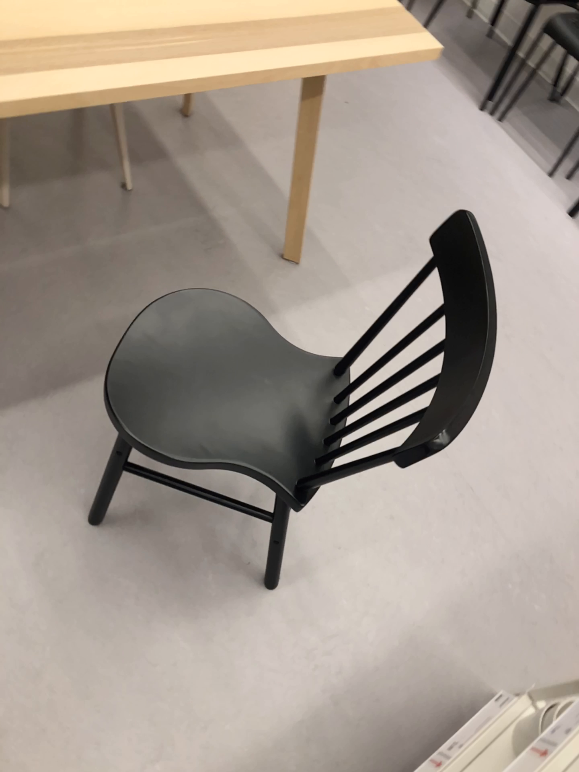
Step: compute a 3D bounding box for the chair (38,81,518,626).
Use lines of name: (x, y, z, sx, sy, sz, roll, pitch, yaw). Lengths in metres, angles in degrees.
chair: (-0.051, 0.013, 1.106, 0.520, 0.717, 0.482, 23, 54, -3)
